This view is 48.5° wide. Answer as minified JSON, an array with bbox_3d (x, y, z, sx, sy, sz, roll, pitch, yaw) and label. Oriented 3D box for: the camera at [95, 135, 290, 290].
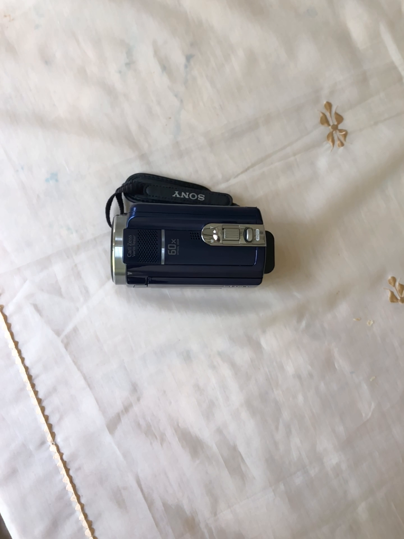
[{"bbox_3d":[-0.008,-0.033,0.312,0.119,0.070,0.090,1,85,-8],"label":"camera"}]
